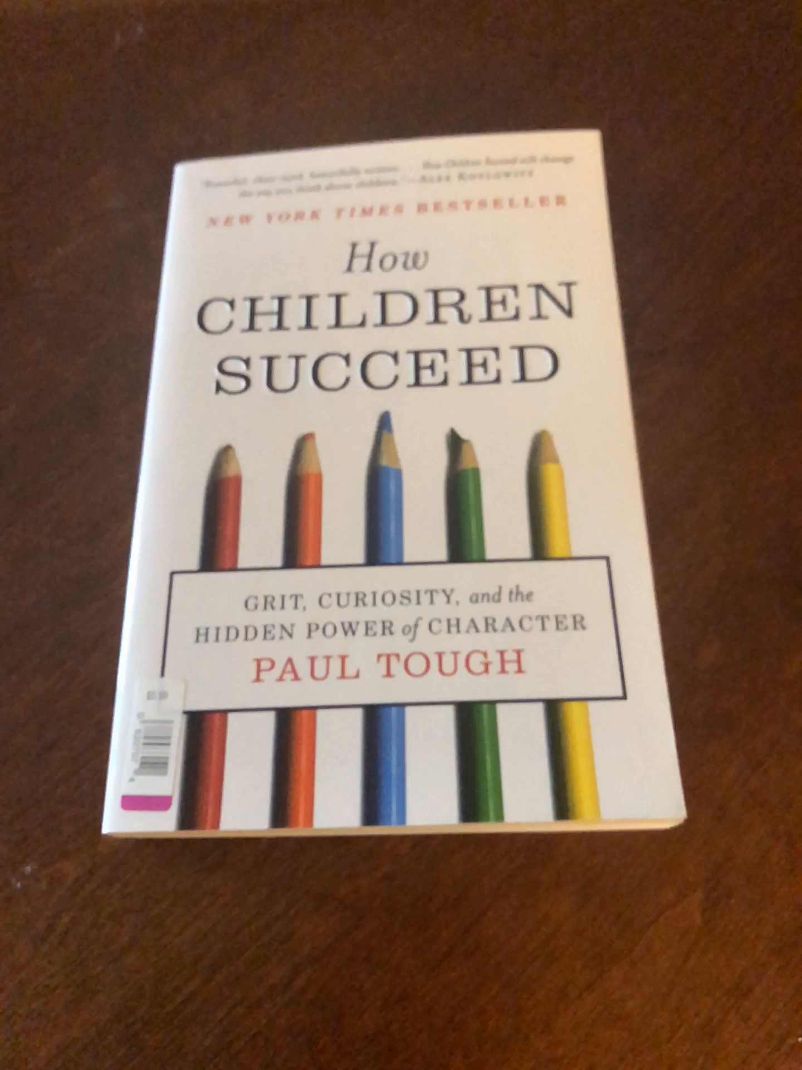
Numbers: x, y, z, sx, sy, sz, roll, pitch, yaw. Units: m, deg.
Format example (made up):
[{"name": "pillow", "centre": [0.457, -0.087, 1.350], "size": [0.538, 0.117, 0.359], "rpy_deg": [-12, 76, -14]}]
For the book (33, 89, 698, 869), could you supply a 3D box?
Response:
[{"name": "book", "centre": [-0.009, -0.024, 0.242], "size": [0.140, 0.030, 0.211], "rpy_deg": [-2, 68, 4]}]
